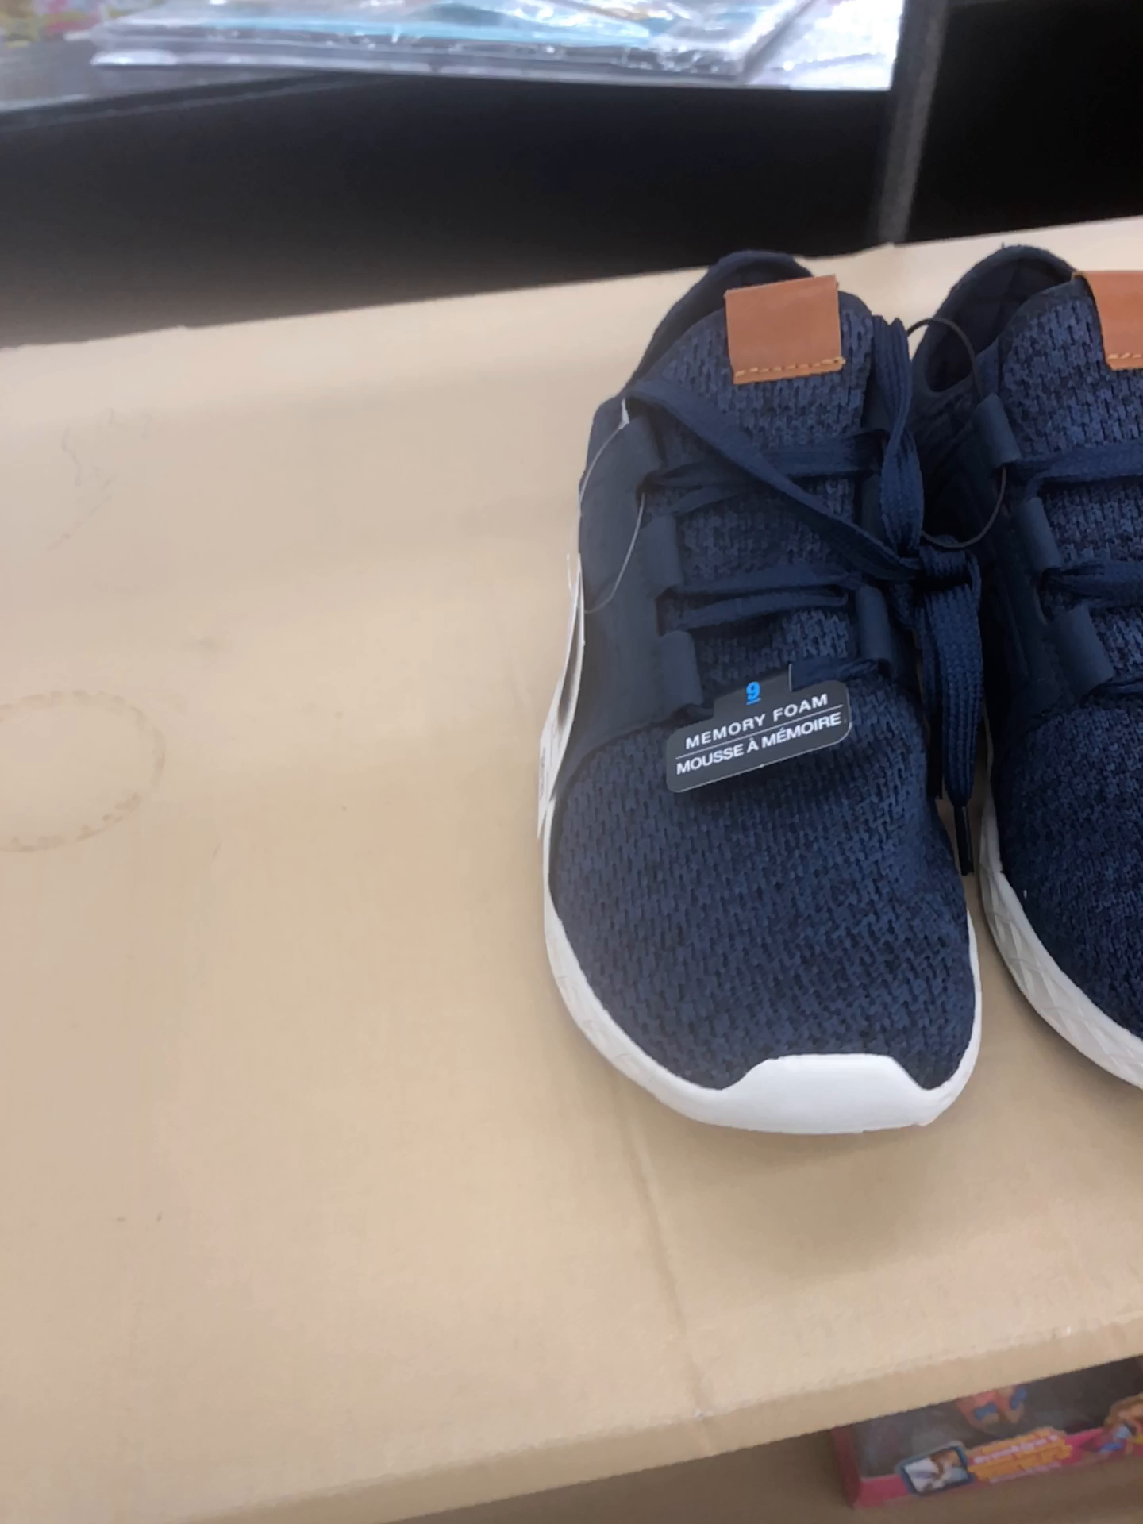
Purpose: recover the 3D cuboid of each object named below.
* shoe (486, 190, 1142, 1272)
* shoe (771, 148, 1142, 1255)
[{"bbox_3d":[0.042,-0.036,0.343,0.110,0.130,0.291,-2,41,1],"label":"shoe"},{"bbox_3d":[0.146,-0.047,0.329,0.110,0.120,0.291,-6,42,-5],"label":"shoe"}]
